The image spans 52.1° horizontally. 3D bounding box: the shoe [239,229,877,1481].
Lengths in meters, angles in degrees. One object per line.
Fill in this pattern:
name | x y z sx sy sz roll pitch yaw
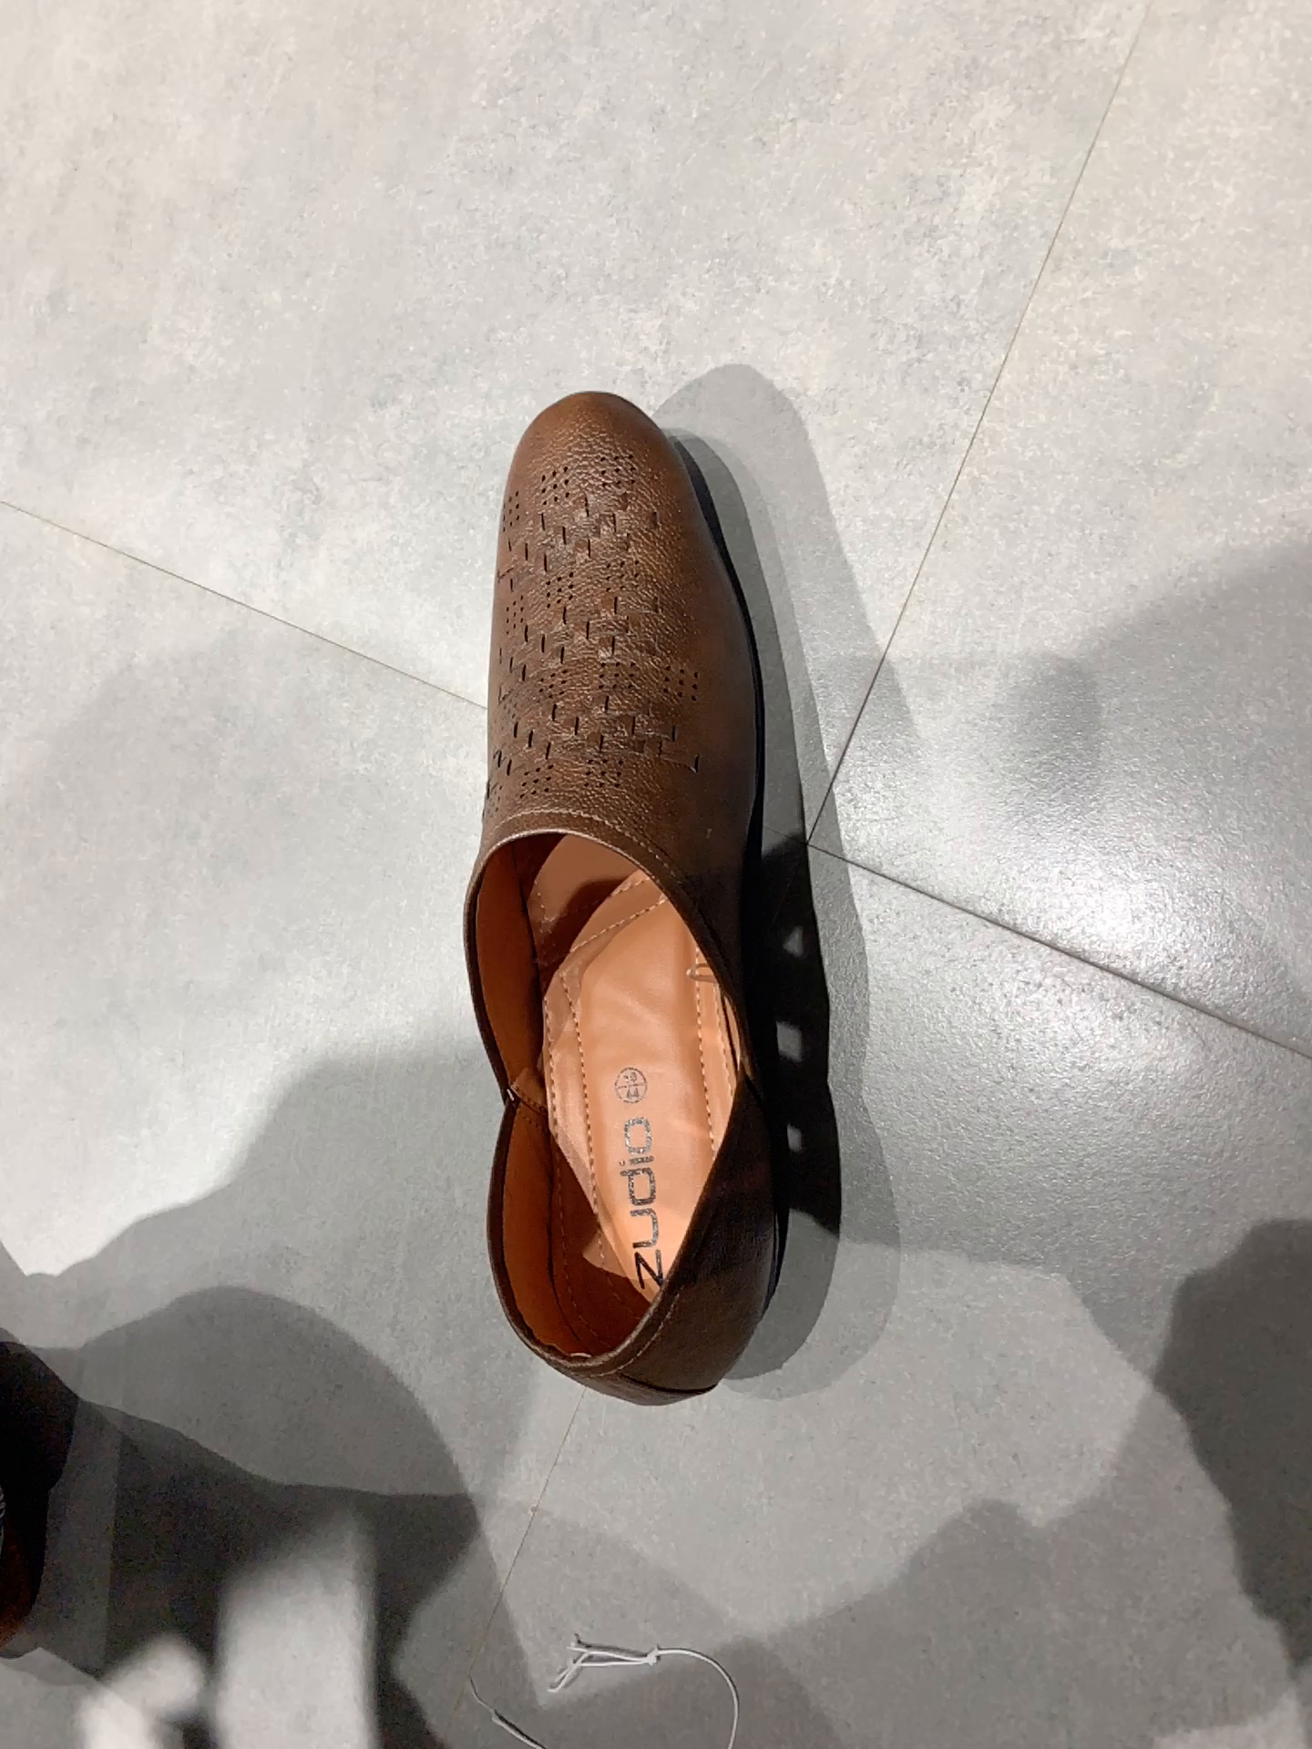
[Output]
shoe | -0.026 -0.001 0.374 0.100 0.110 0.290 -12 80 26
